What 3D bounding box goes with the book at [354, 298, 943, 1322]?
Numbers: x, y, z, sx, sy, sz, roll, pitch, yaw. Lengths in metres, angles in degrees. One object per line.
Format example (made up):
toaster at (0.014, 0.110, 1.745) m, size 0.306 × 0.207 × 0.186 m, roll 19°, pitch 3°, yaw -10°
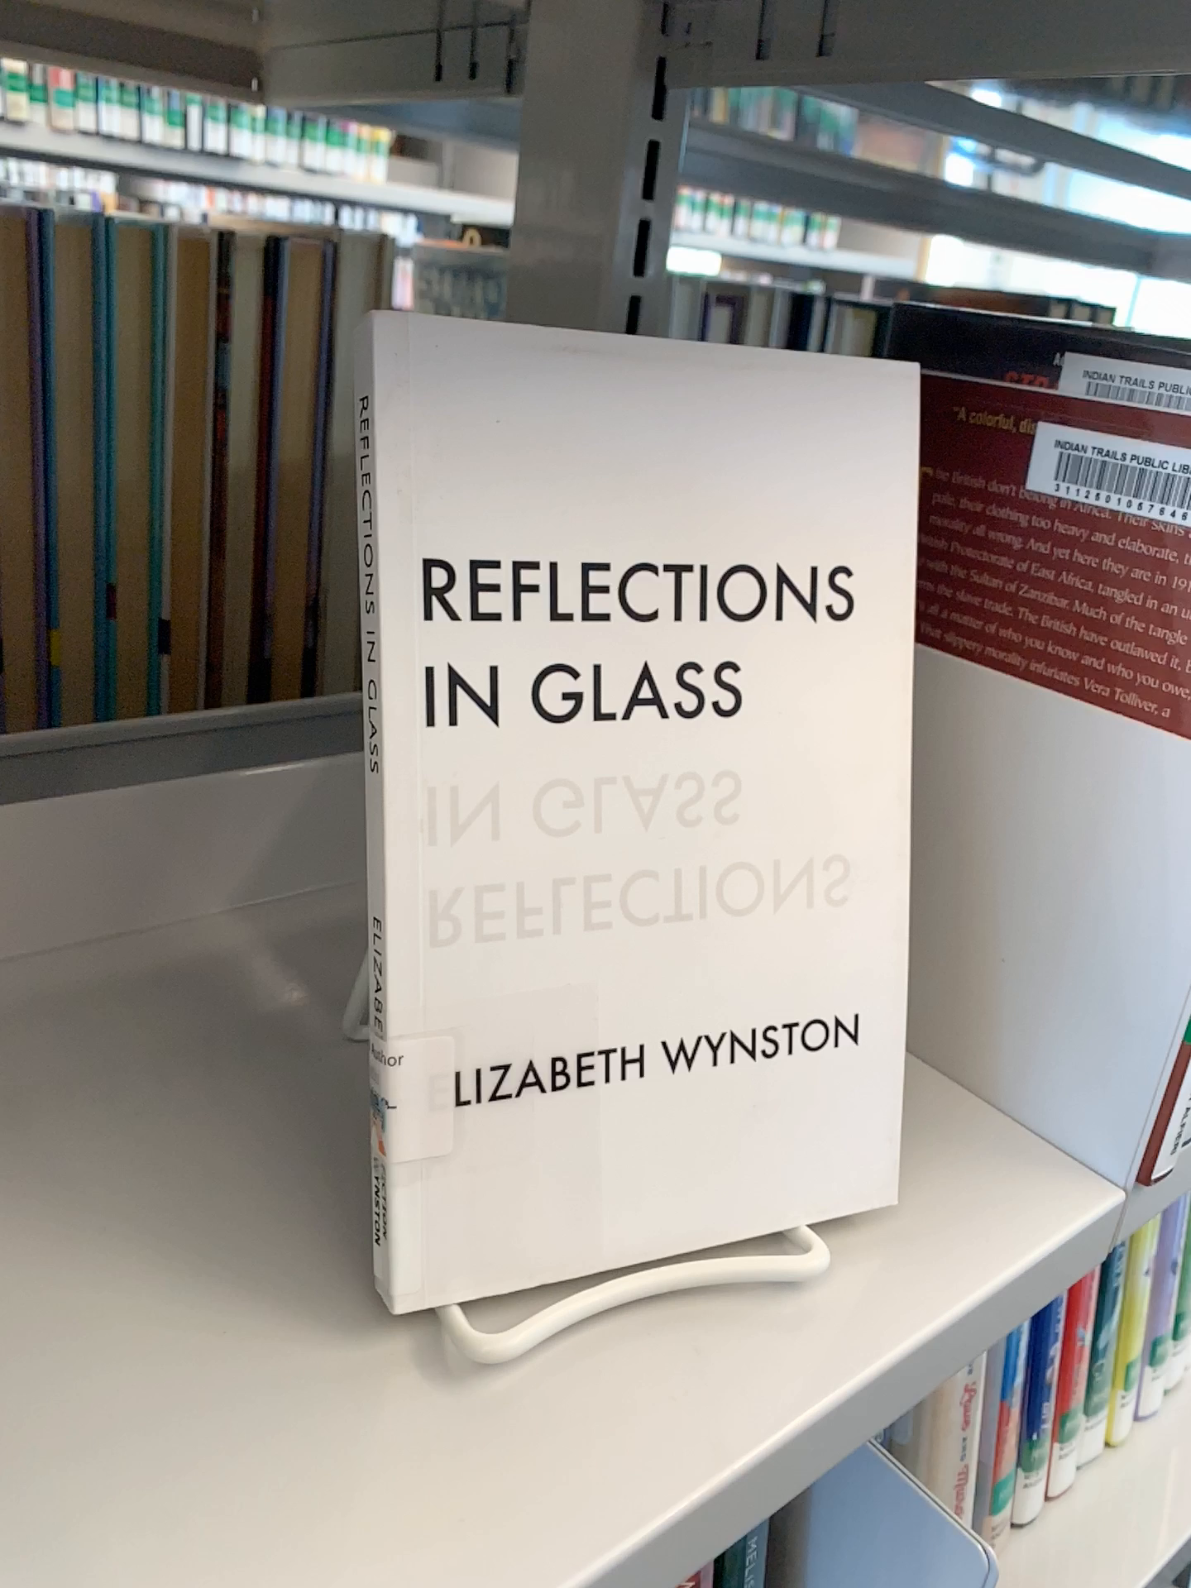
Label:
book at (0.014, 0.004, 0.269) m, size 0.127 × 0.196 × 0.018 m, roll -3°, pitch 8°, yaw -24°
